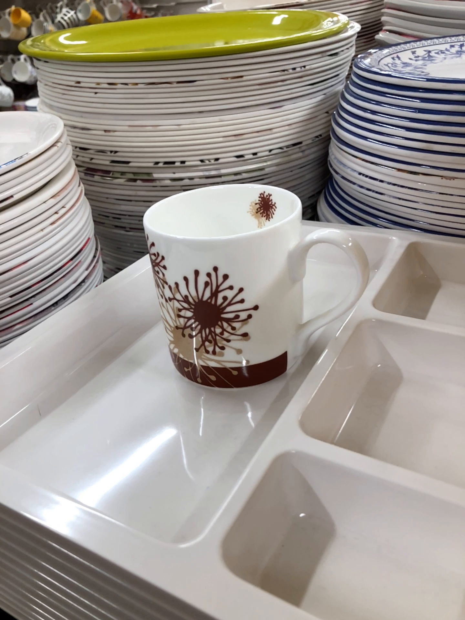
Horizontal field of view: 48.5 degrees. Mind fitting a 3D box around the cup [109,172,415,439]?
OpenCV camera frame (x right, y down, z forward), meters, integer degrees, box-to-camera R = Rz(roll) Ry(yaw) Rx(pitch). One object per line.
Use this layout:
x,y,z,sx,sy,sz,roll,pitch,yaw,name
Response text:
0.019,-0.010,0.261,0.120,0.089,0.081,10,34,23,cup
